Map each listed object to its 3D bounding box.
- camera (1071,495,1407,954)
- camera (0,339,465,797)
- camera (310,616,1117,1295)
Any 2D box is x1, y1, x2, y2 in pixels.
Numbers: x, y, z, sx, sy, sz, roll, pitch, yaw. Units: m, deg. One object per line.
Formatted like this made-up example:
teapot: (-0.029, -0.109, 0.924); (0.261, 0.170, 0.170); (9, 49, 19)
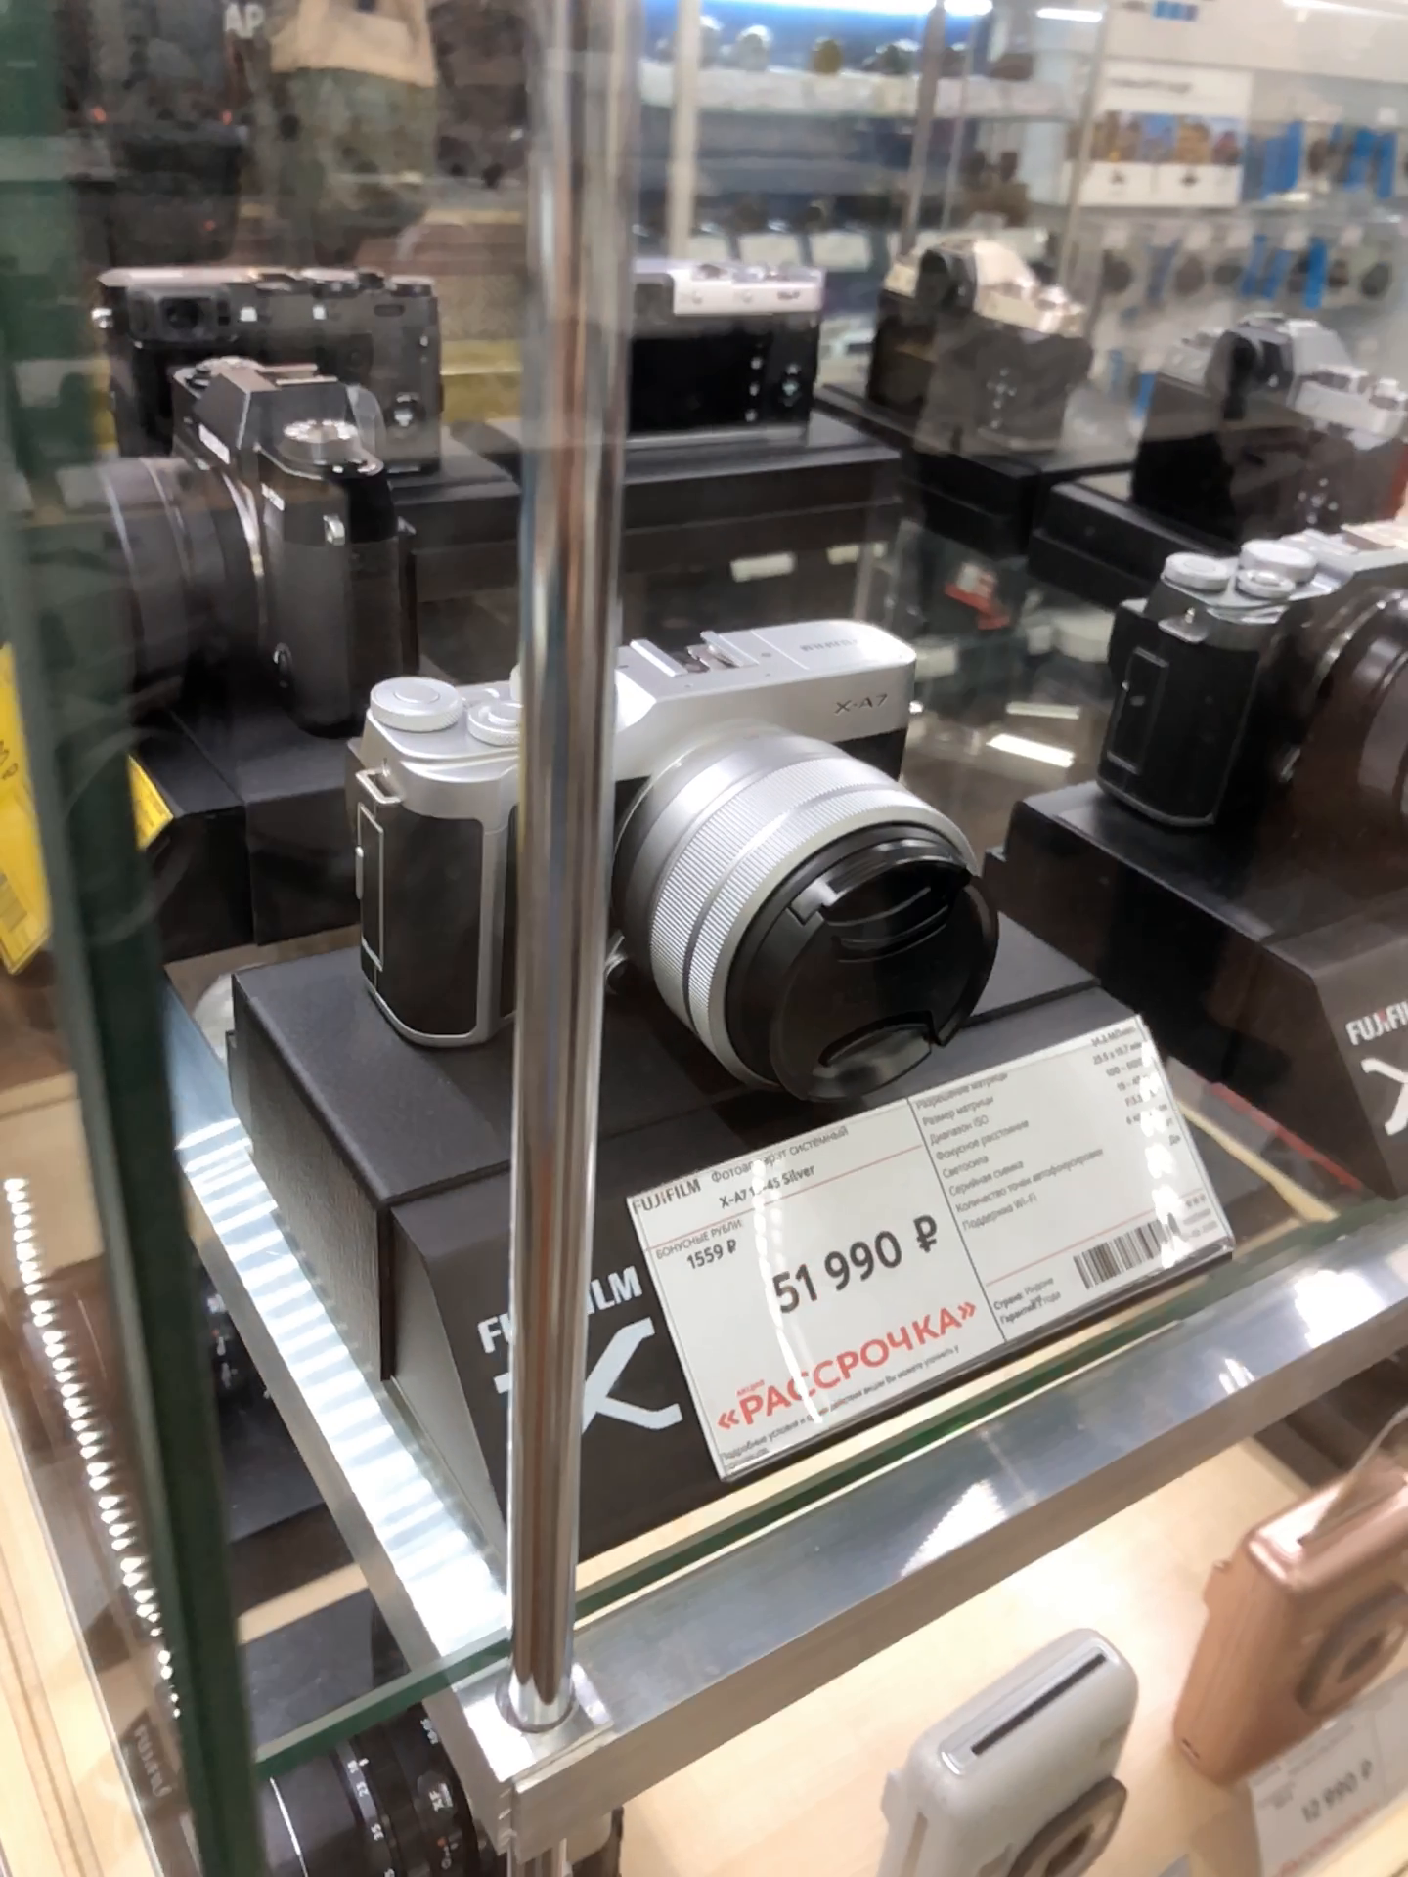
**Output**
camera: (0.185, -0.066, 0.434); (0.115, 0.080, 0.096); (-15, 36, -30)
camera: (-0.135, -0.106, 0.421); (0.097, 0.080, 0.115); (-15, 37, -31)
camera: (-0.002, -0.005, 0.312); (0.126, 0.080, 0.084); (-14, 36, -29)
